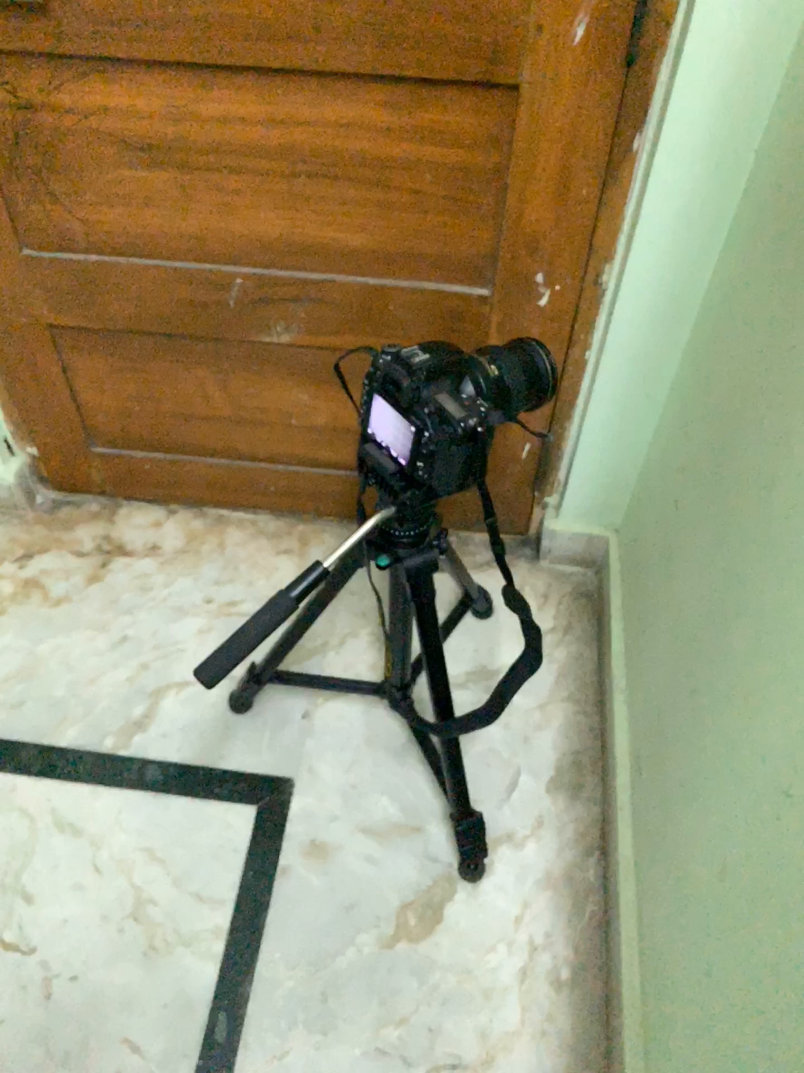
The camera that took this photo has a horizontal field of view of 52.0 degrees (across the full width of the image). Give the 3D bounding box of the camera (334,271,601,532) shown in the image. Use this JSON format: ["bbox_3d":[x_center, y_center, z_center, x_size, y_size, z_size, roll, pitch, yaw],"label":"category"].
[{"bbox_3d":[0.061,-0.143,0.846,0.189,0.128,0.175,-33,58,-25],"label":"camera"}]
